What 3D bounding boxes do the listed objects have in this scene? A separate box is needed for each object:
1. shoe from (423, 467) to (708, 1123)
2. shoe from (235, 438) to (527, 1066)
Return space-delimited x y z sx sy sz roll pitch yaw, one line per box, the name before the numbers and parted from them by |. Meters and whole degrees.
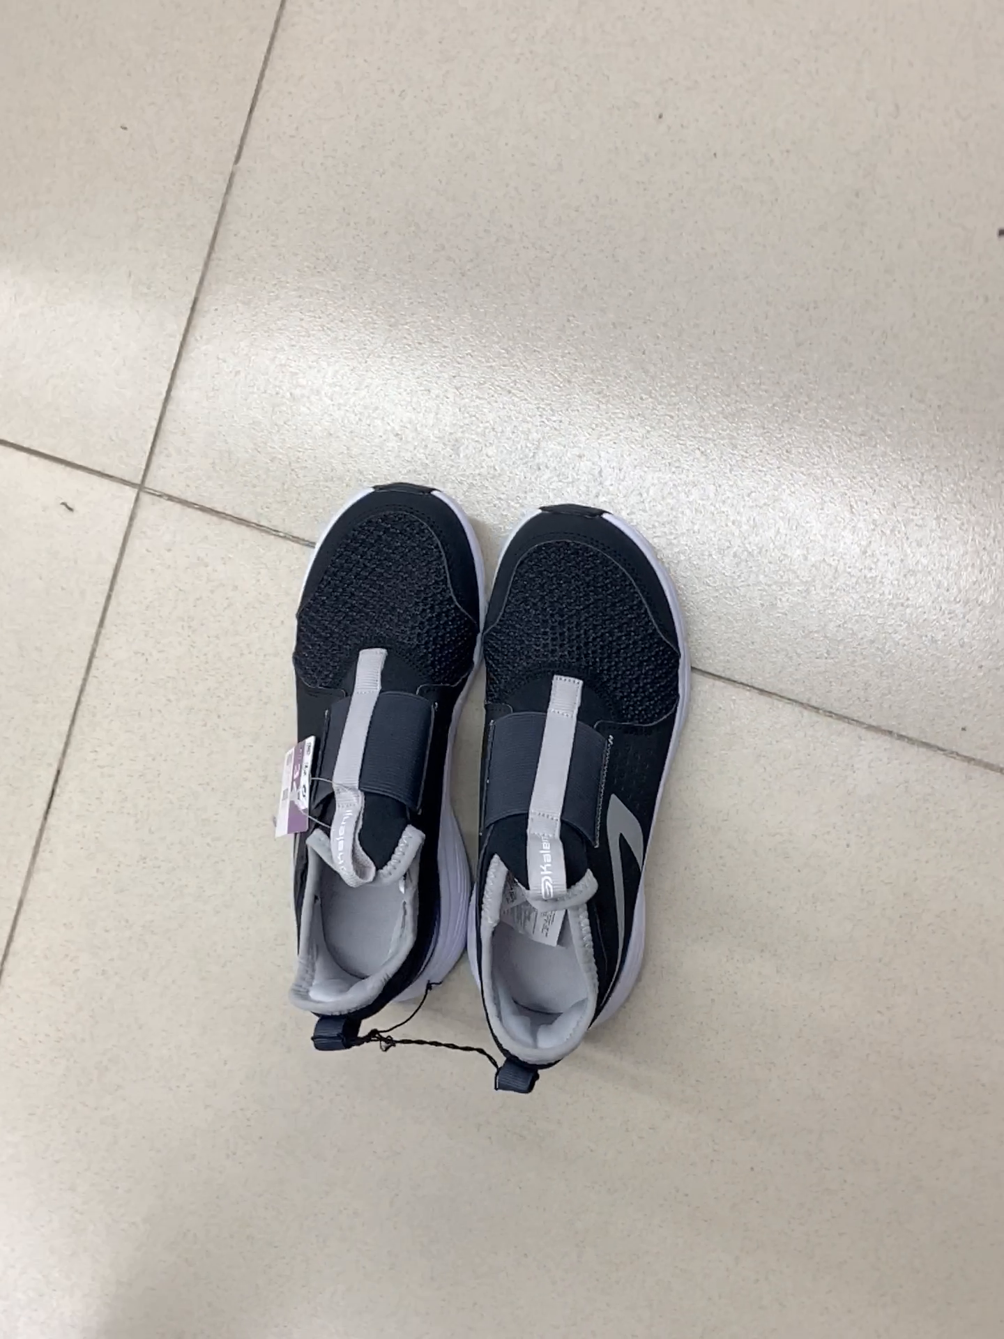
shoe | 0.030 0.048 0.444 0.090 0.080 0.250 6 92 11
shoe | -0.051 0.032 0.462 0.090 0.080 0.250 6 92 11
